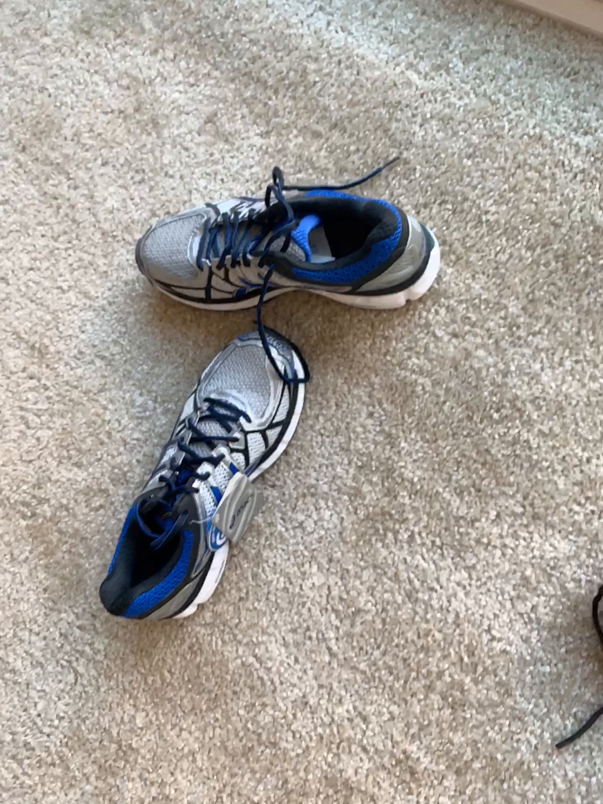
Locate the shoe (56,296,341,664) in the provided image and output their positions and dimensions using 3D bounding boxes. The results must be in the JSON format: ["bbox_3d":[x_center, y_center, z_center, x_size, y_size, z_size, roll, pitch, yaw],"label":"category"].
[{"bbox_3d":[-0.086,0.068,0.568,0.100,0.110,0.290,27,90,19],"label":"shoe"}]

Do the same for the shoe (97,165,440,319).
[{"bbox_3d":[-0.029,-0.146,0.612,0.311,0.110,0.100,2,82,18],"label":"shoe"}]
